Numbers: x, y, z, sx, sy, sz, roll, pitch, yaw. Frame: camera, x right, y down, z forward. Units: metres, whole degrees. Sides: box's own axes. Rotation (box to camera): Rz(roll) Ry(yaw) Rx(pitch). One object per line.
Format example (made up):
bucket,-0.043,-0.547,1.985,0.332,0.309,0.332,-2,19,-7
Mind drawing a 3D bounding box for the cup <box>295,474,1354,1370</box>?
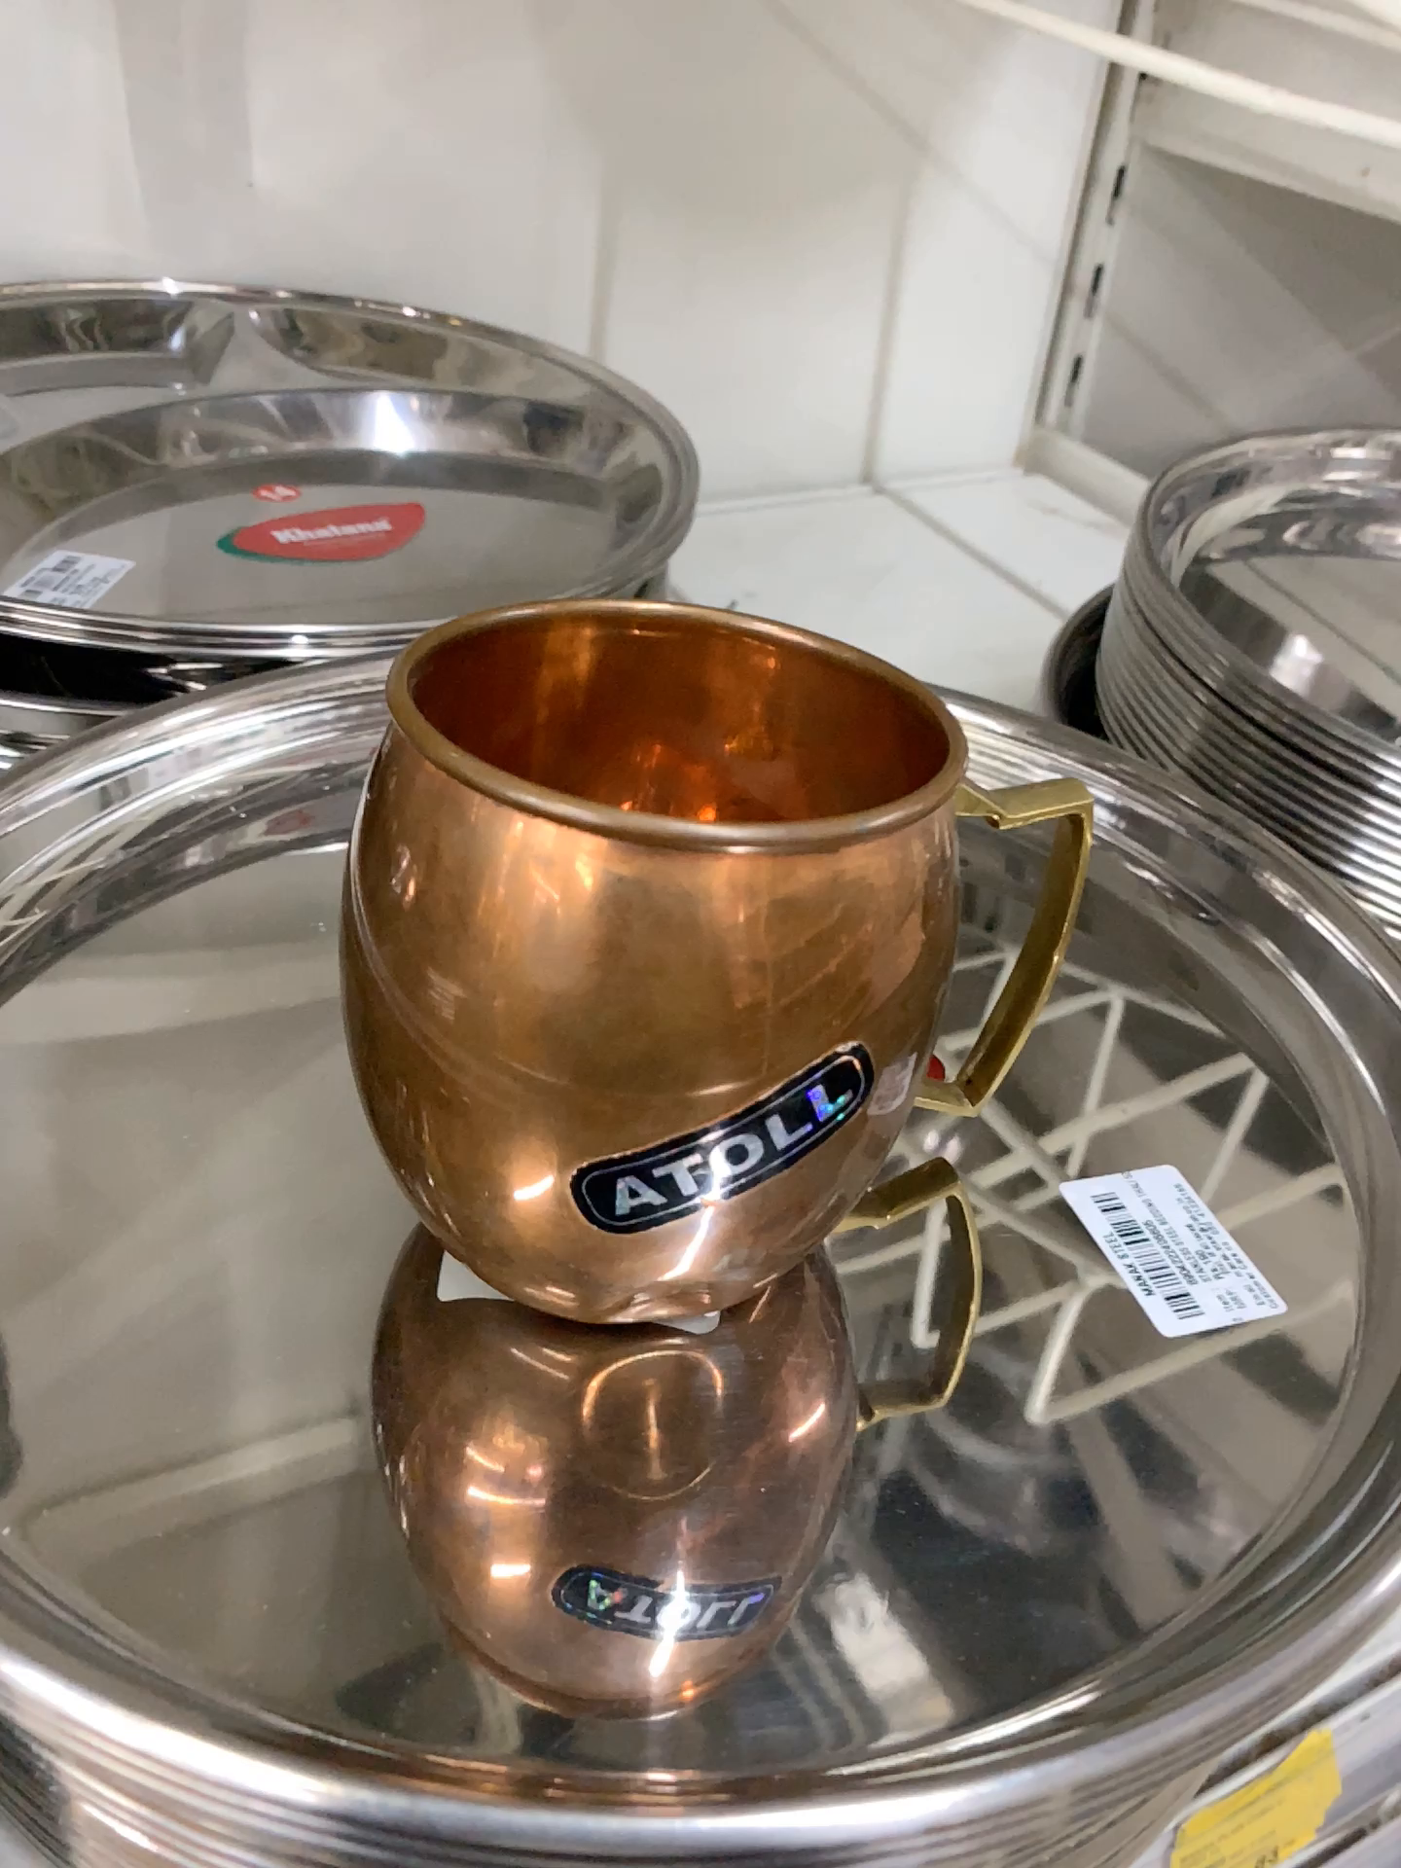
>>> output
cup,0.006,-0.010,0.223,0.120,0.090,0.090,-6,39,-20
